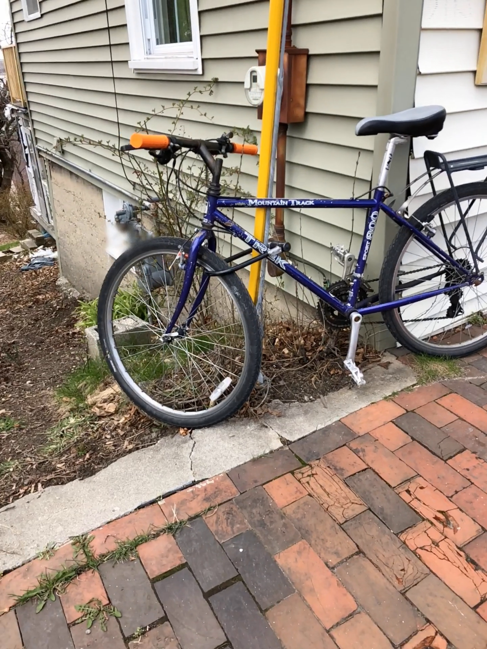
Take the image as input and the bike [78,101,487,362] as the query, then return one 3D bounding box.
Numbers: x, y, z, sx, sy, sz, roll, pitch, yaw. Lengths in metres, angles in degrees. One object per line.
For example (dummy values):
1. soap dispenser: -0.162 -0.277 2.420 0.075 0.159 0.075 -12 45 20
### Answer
1. bike: 0.080 -0.320 1.774 1.146 0.690 0.515 -3 26 1
